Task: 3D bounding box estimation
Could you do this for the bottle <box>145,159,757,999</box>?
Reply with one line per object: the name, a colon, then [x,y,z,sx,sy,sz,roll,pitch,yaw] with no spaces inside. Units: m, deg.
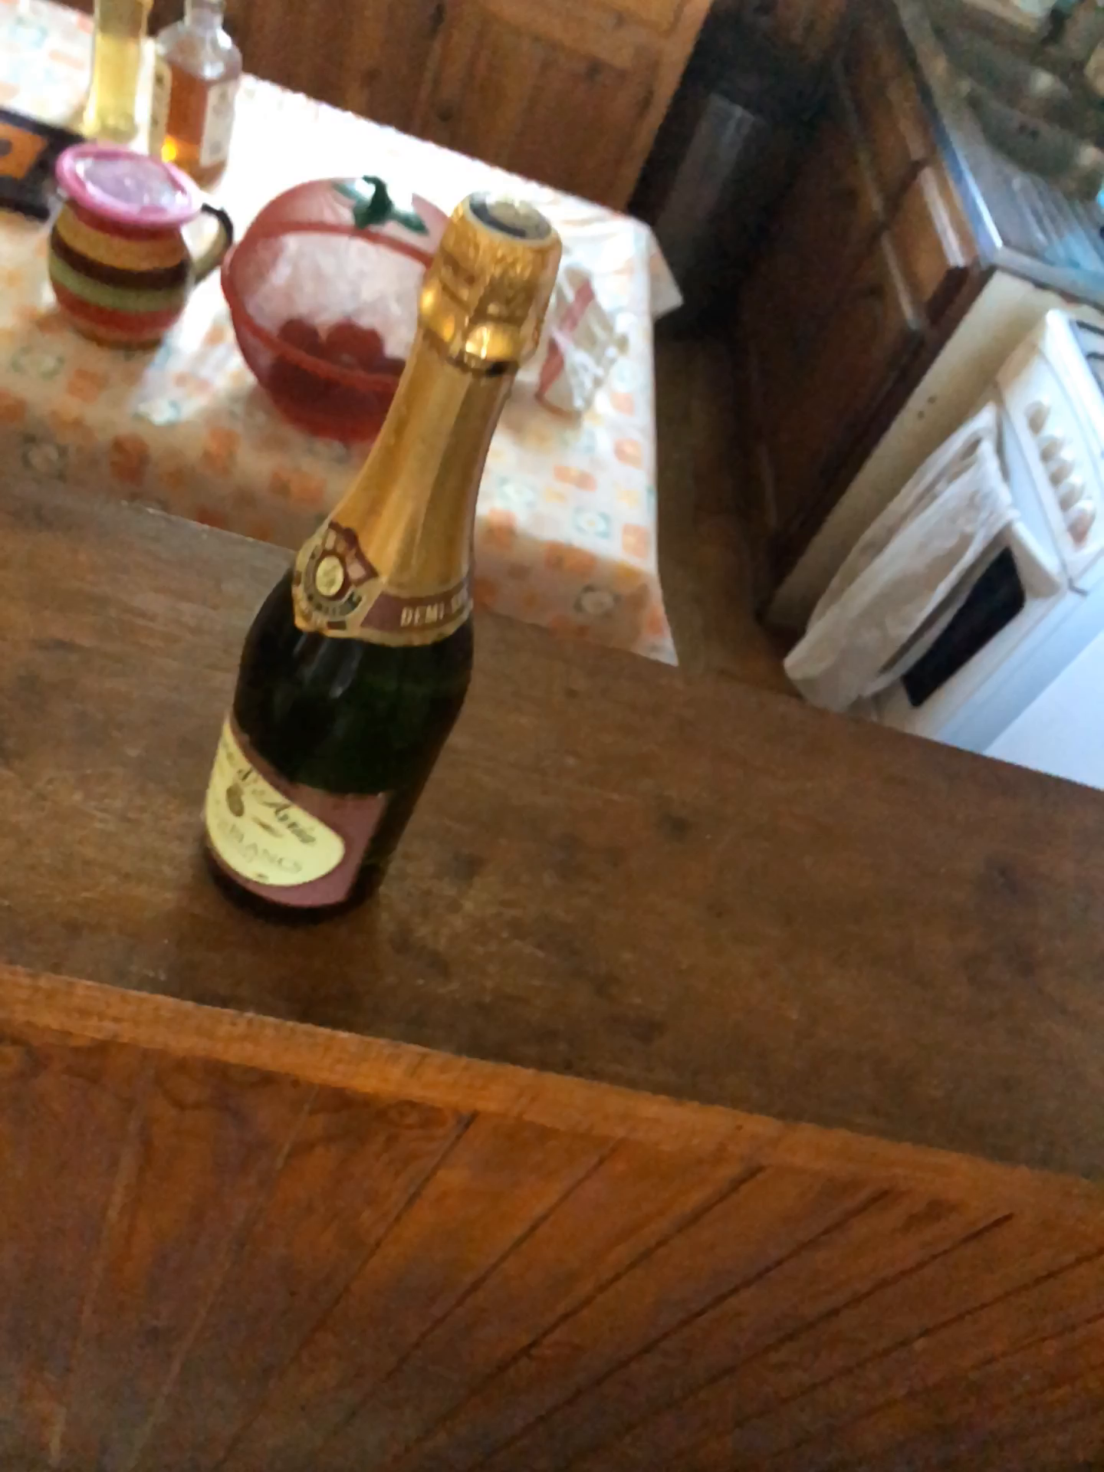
bottle: [-0.059,-0.033,0.425,0.101,0.298,0.090,-18,62,-36]
